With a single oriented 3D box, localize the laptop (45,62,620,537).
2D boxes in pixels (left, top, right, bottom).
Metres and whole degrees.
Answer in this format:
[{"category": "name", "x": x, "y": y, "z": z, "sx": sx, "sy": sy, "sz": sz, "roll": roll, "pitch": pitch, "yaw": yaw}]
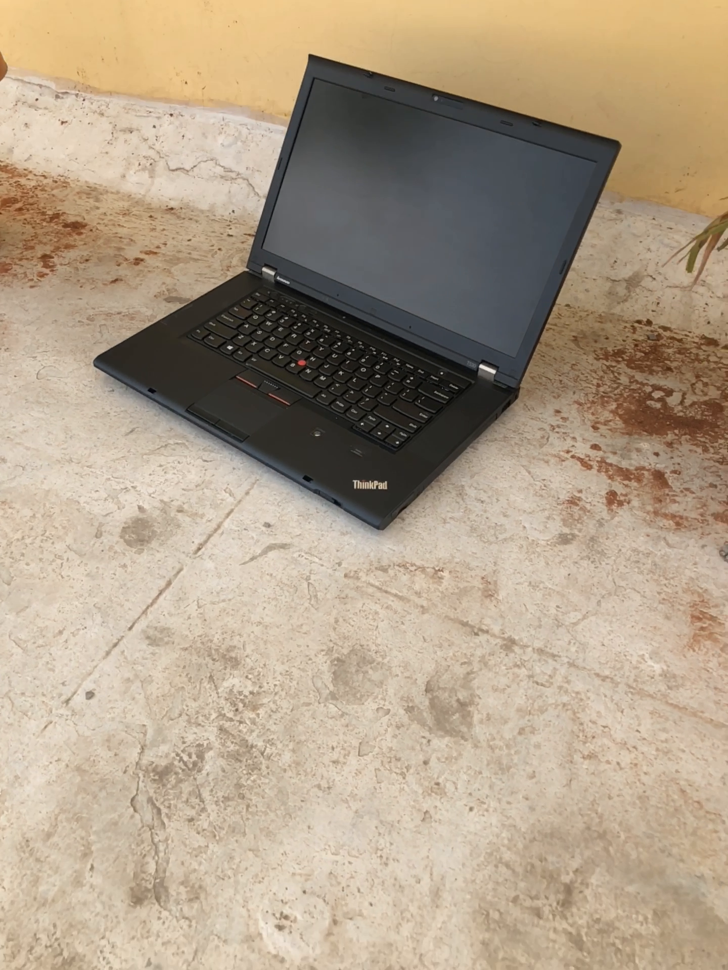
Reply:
[{"category": "laptop", "x": -0.023, "y": -0.211, "z": 0.771, "sx": 0.361, "sy": 0.208, "sz": 0.353, "roll": 29, "pitch": 51, "yaw": 25}]
